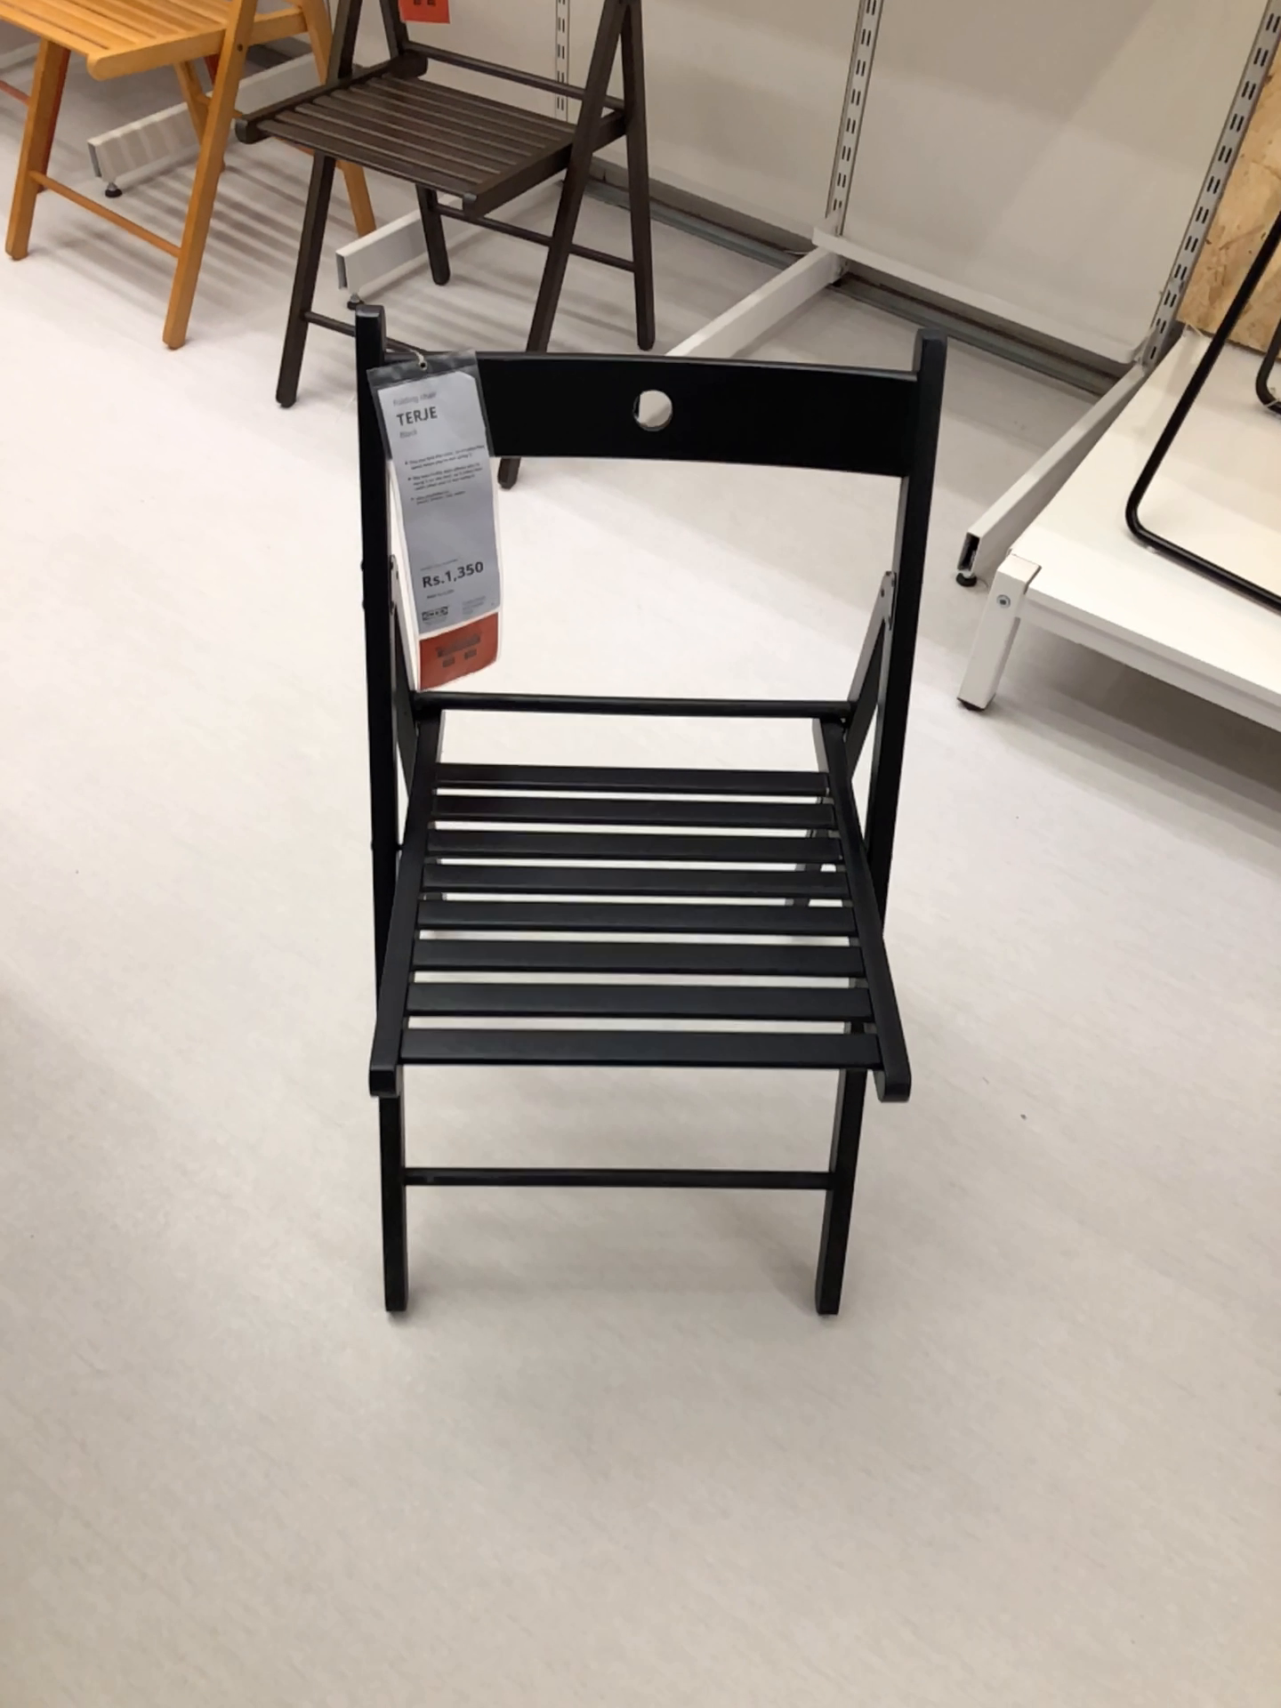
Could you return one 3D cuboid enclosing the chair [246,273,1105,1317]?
[{"bbox_3d":[-0.001,0.002,1.152,0.440,0.725,0.483,2,50,-3],"label":"chair"}]
